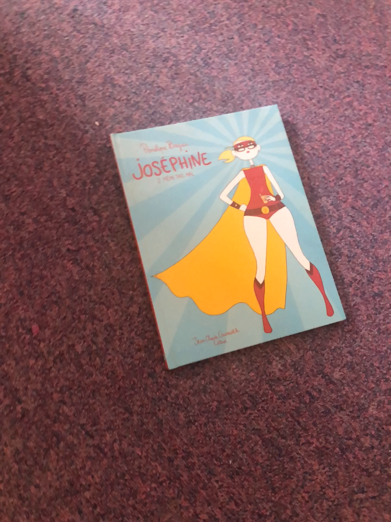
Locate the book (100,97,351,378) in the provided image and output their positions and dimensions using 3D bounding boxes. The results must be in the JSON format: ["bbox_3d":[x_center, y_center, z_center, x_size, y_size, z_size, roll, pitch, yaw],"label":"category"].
[{"bbox_3d":[0.033,-0.042,0.530,0.234,0.020,0.307,-13,80,-10],"label":"book"}]
